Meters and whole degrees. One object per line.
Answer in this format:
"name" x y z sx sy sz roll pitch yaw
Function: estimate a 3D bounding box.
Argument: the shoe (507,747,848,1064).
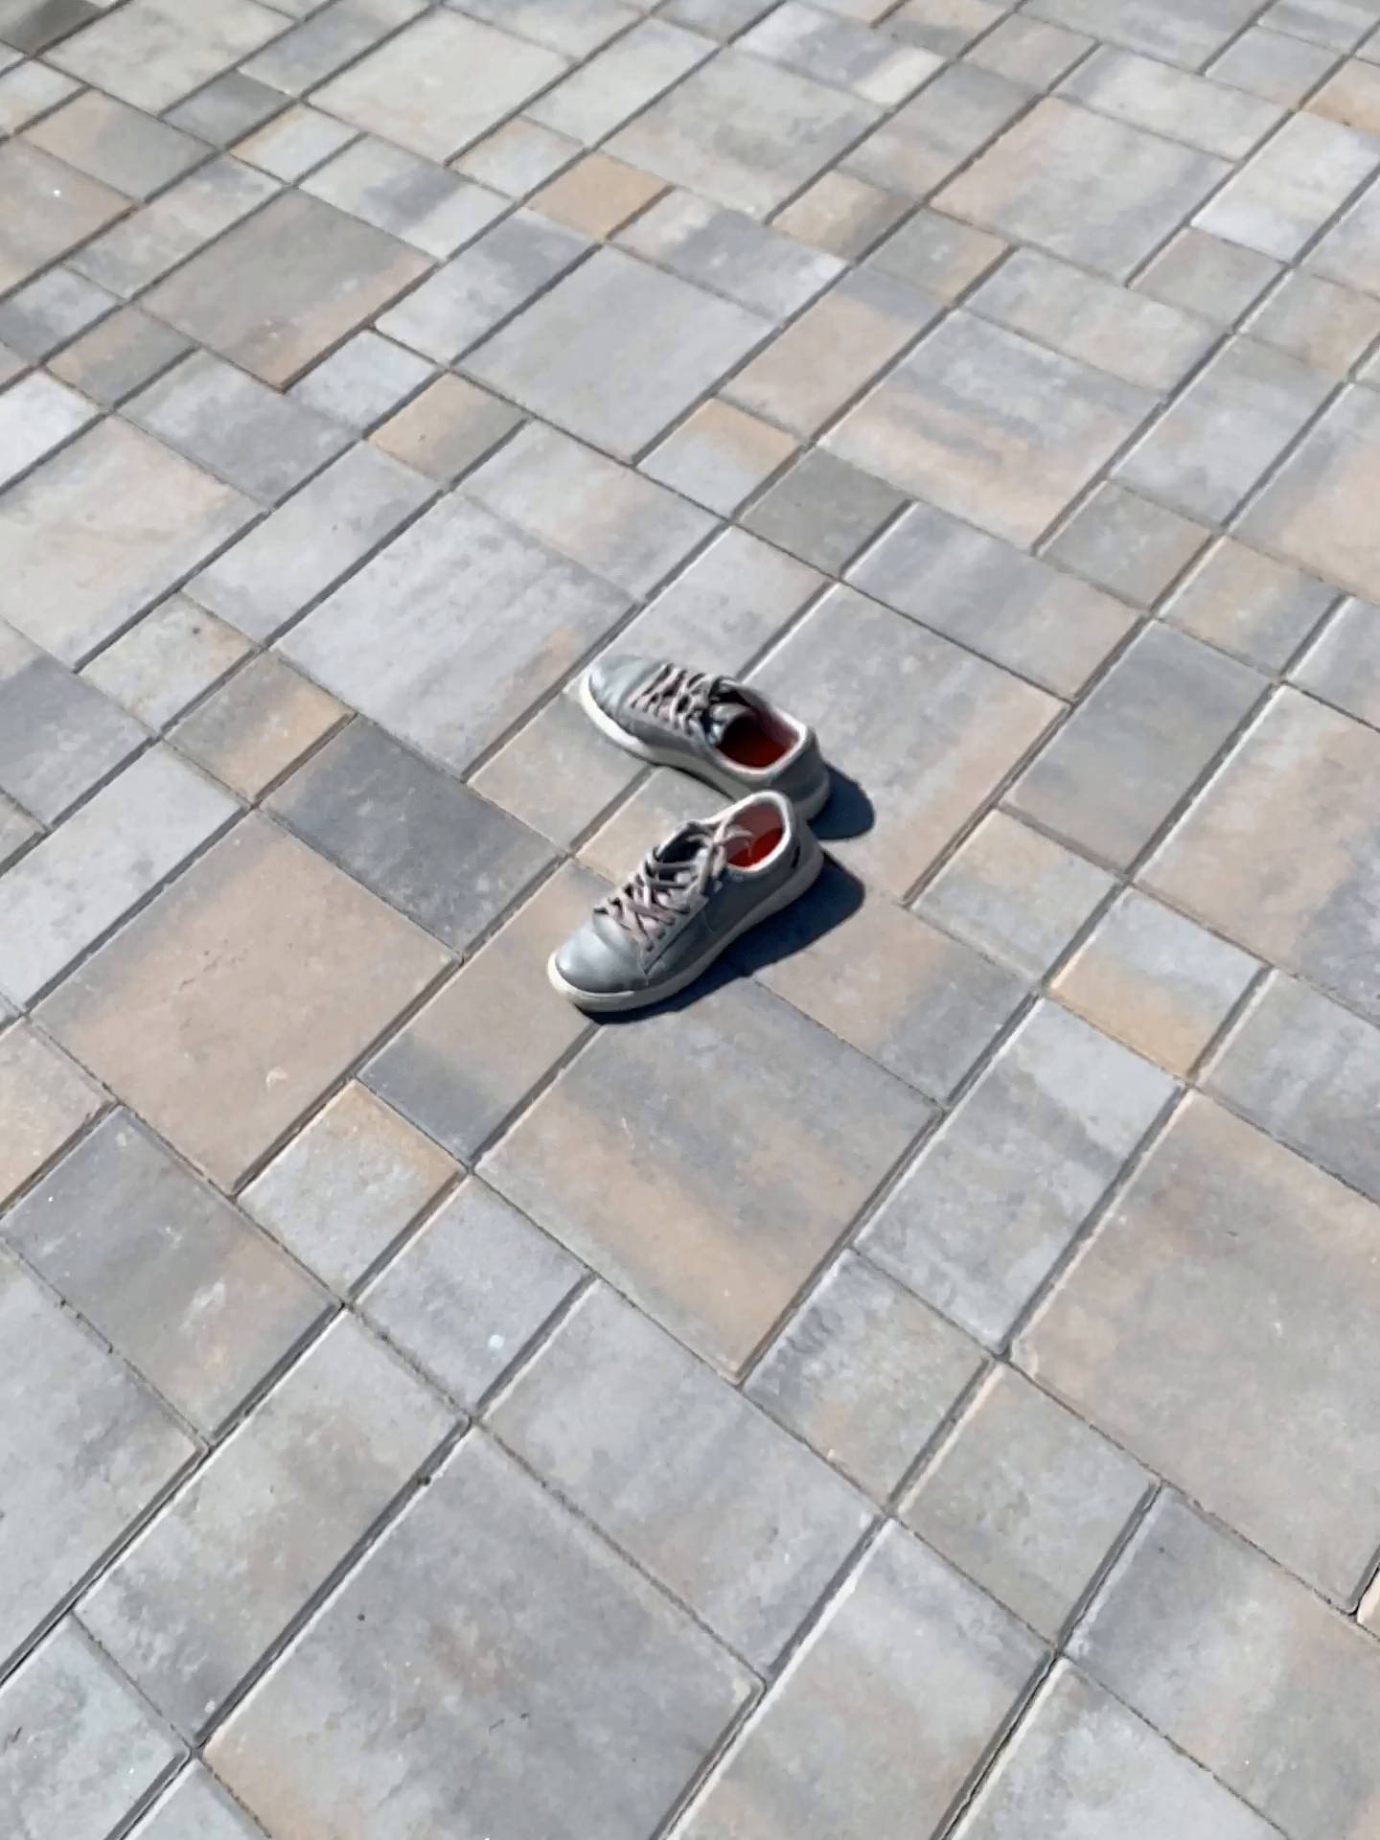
"shoe" -0.007 -0.016 1.346 0.300 0.110 0.120 -35 64 -16

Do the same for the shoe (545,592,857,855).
"shoe" 0.010 -0.205 1.458 0.301 0.090 0.120 32 67 20
